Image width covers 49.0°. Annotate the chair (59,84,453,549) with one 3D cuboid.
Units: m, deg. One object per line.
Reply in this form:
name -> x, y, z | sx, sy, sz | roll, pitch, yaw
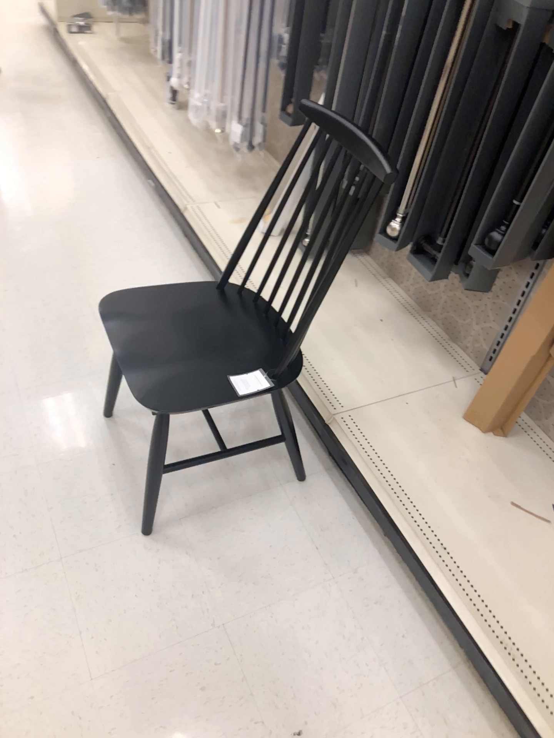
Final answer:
chair -> -0.114, -0.120, 1.474 | 0.609, 0.909, 0.519 | -12, 46, -23
